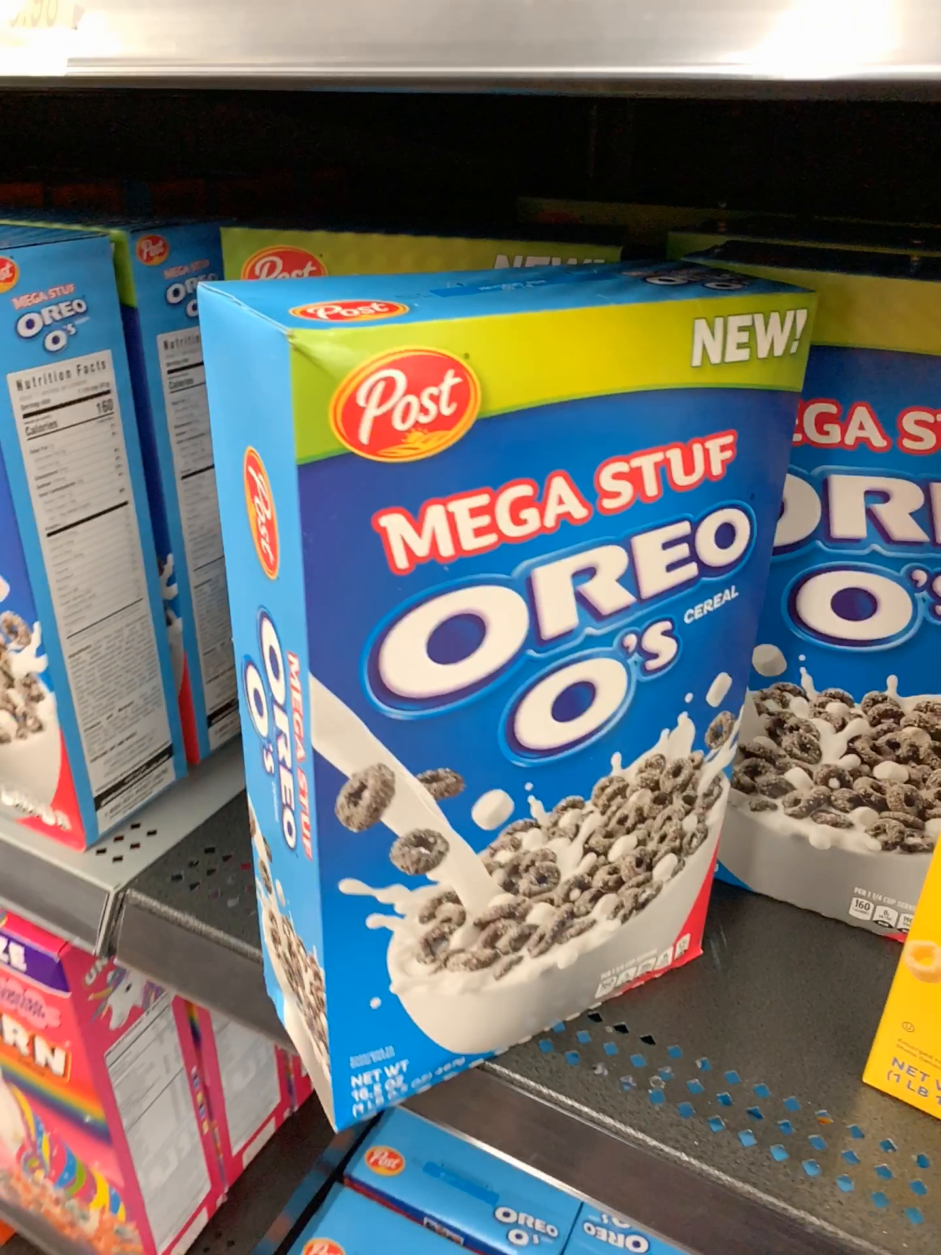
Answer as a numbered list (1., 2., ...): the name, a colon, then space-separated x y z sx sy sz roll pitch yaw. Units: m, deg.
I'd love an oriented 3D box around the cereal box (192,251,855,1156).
1. cereal box: 0.020 0.030 0.399 0.210 0.328 0.080 -14 32 -27
